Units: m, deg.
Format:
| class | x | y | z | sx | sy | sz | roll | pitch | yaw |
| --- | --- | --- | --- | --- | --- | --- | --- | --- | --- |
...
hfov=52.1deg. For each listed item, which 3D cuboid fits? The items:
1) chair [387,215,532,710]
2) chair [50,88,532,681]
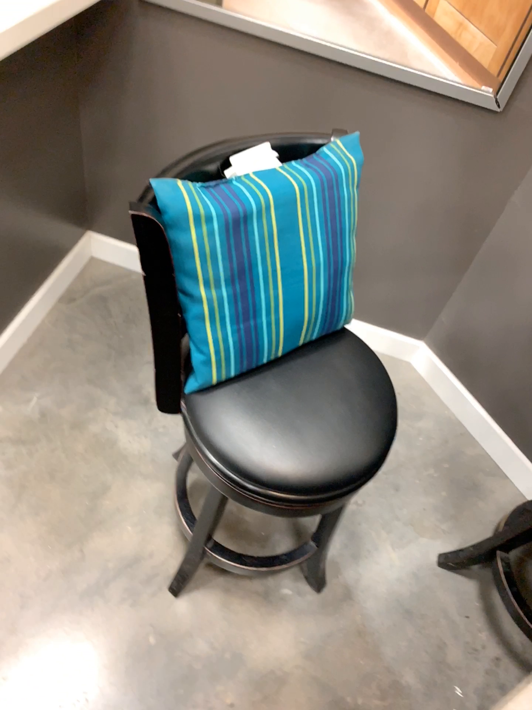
| class | x | y | z | sx | sy | sz | roll | pitch | yaw |
| --- | --- | --- | --- | --- | --- | --- | --- | --- | --- |
| chair | 0.787 | 0.322 | 1.100 | 0.536 | 0.924 | 0.597 | -18 | 57 | -26 |
| chair | -0.003 | 0.099 | 1.050 | 0.536 | 0.904 | 0.597 | -18 | 57 | -26 |
